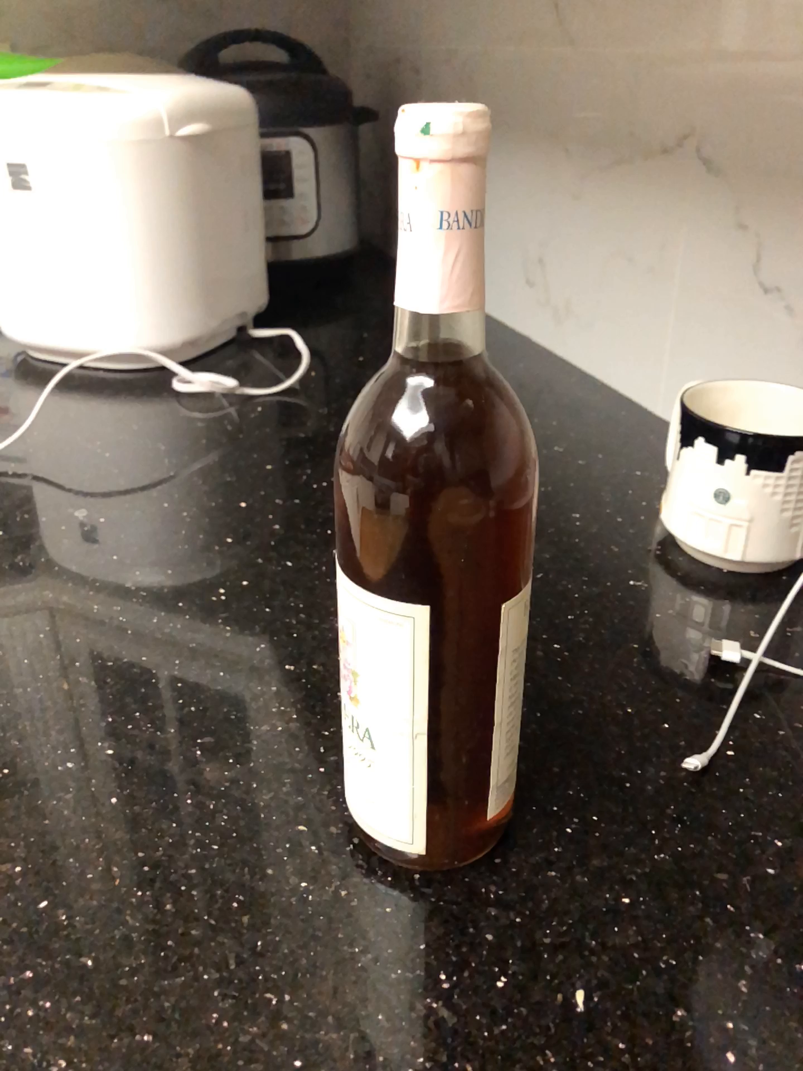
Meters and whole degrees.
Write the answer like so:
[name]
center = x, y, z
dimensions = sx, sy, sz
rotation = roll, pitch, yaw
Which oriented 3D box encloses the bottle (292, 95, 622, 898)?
[bottle]
center = 0.014, 0.000, 0.317
dimensions = 0.080, 0.278, 0.080
rotation = 0, 29, 0
